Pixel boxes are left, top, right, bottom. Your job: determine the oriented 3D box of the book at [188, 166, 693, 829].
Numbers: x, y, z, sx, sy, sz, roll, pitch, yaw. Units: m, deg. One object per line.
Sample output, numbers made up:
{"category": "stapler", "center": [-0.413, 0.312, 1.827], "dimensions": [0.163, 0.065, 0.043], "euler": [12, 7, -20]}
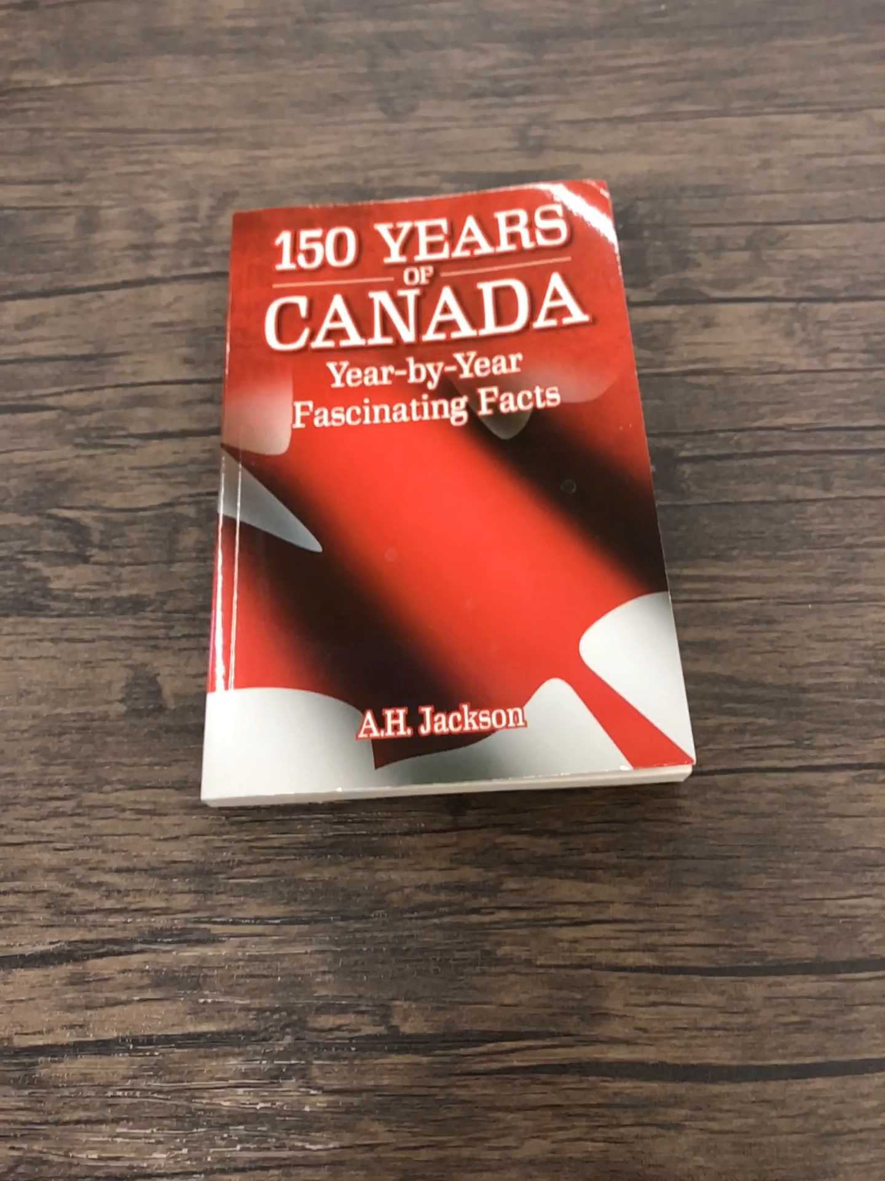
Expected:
{"category": "book", "center": [-0.005, -0.037, 0.307], "dimensions": [0.130, 0.025, 0.206], "euler": [-6, 65, 6]}
